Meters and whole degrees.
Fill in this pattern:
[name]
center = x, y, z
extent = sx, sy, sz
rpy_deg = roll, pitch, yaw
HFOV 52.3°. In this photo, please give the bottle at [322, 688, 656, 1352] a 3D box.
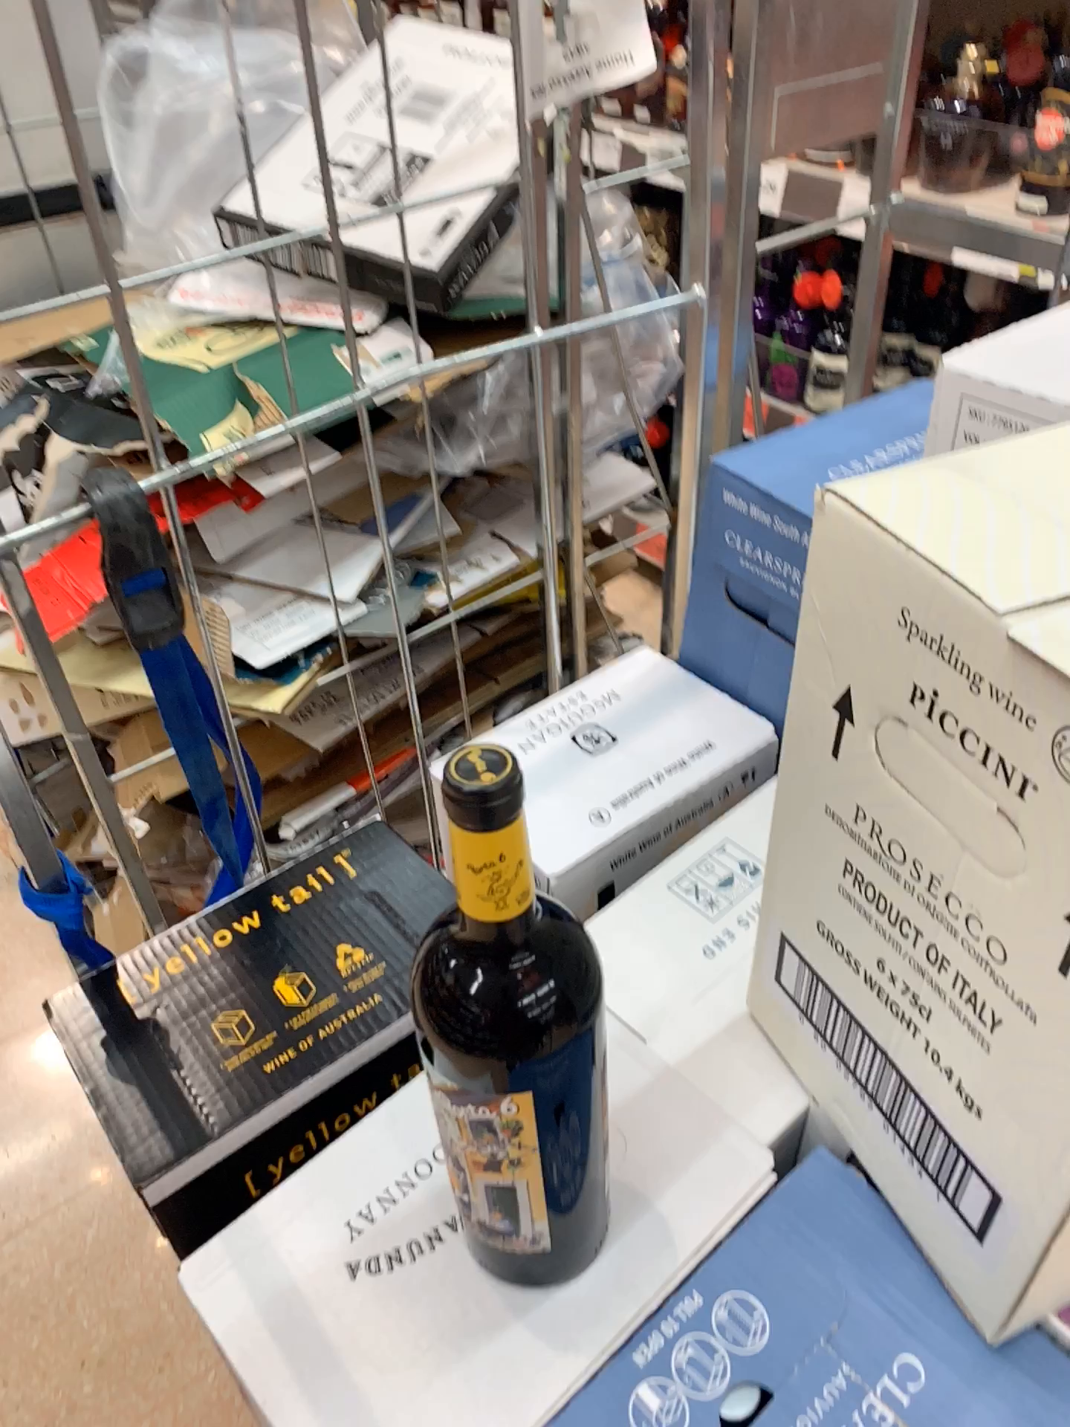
[bottle]
center = -0.012, 0.140, 0.445
extent = 0.077, 0.295, 0.079
rpy_deg = -1, 39, 1
